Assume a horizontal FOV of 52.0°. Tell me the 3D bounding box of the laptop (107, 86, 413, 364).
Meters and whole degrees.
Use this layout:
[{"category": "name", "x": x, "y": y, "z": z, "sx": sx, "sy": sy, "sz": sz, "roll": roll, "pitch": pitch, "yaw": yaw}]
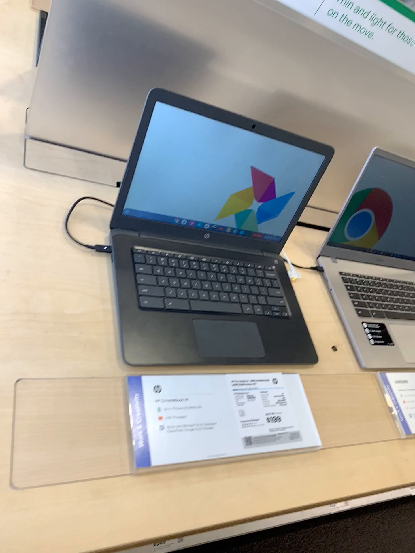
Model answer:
[{"category": "laptop", "x": 0.051, "y": -0.054, "z": 0.616, "sx": 0.320, "sy": 0.198, "sz": 0.293, "roll": 6, "pitch": 54, "yaw": -28}]
